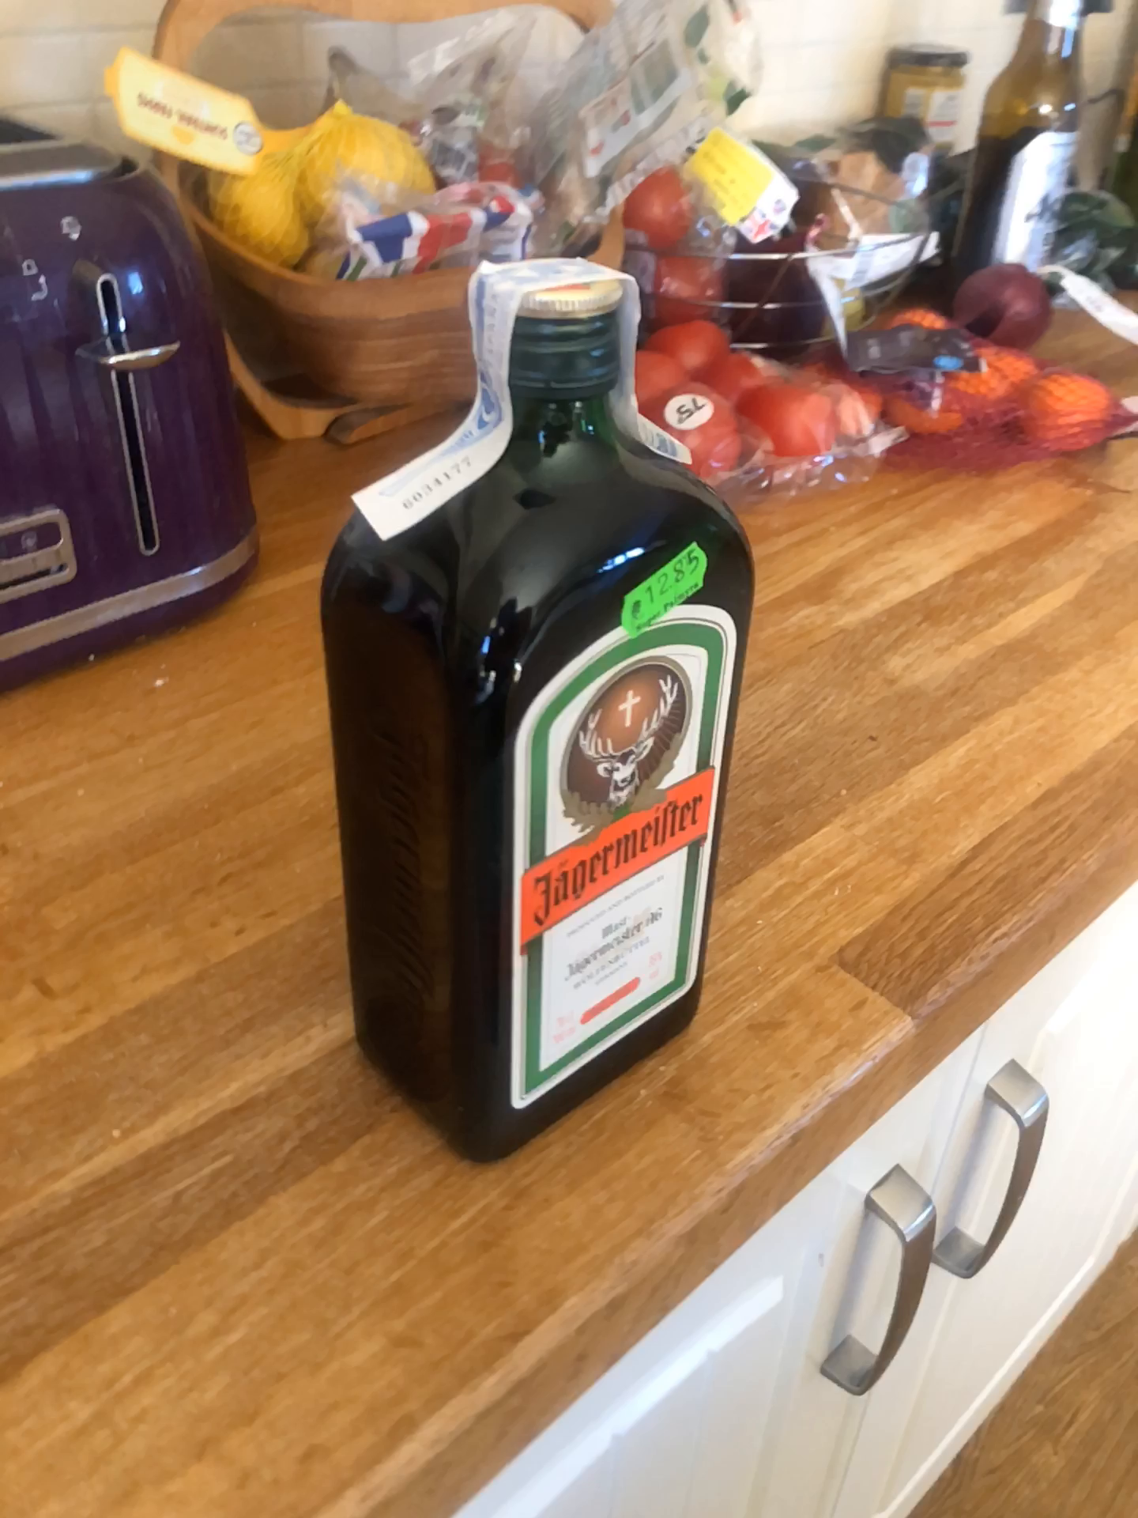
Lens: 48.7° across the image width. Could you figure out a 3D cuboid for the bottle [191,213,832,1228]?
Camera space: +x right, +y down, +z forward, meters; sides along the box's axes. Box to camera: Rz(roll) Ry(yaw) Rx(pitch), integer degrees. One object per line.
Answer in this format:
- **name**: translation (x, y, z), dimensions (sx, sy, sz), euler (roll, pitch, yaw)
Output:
- **bottle**: translation (-0.014, -0.006, 0.313), dimensions (0.101, 0.218, 0.080), euler (-26, 43, -35)
